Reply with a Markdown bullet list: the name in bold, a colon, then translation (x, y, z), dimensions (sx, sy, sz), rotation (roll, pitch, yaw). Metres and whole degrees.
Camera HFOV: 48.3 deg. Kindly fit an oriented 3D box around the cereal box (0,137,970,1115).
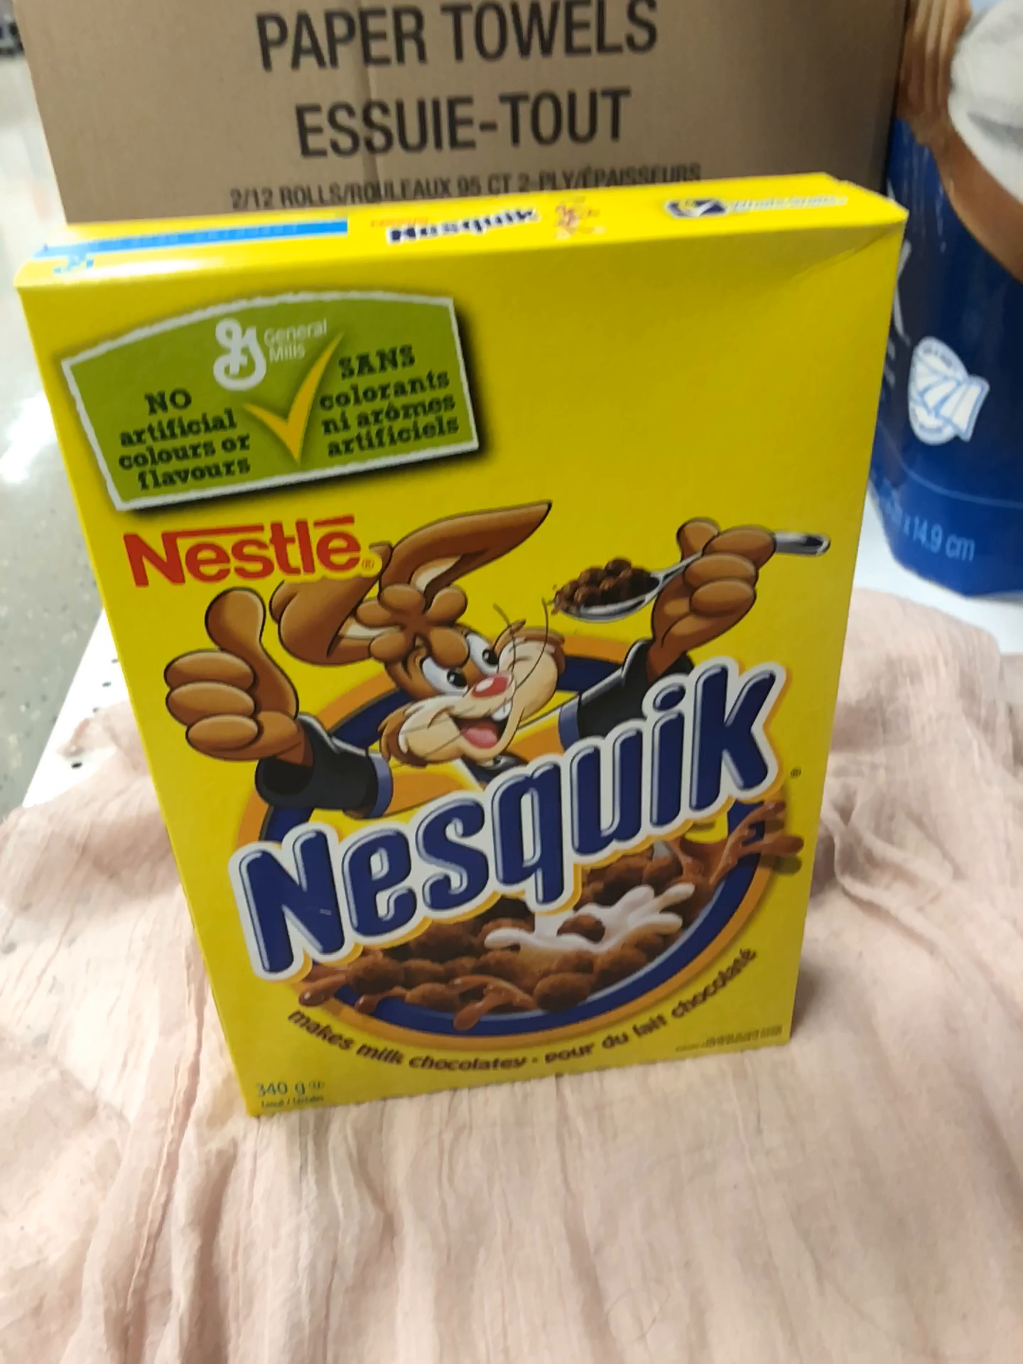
- **cereal box**: translation (-0.005, 0.003, 0.317), dimensions (0.200, 0.259, 0.060), rotation (-6, 35, -3)
